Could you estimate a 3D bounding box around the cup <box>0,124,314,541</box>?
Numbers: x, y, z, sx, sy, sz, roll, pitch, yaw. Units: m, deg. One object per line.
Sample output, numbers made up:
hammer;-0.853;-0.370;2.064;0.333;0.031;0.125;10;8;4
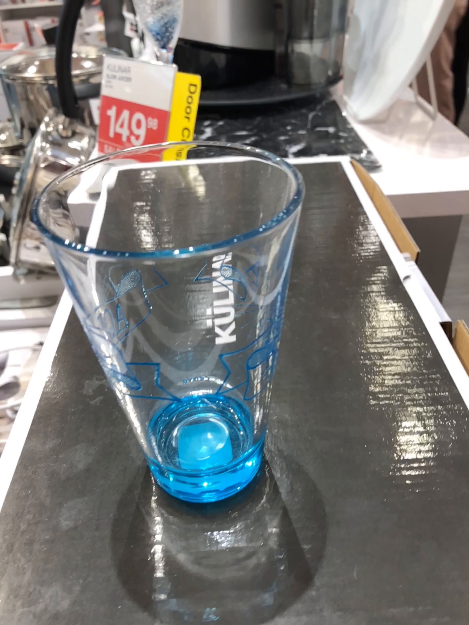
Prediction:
cup;-0.022;0.004;0.187;0.080;0.110;0.080;-2;37;2
